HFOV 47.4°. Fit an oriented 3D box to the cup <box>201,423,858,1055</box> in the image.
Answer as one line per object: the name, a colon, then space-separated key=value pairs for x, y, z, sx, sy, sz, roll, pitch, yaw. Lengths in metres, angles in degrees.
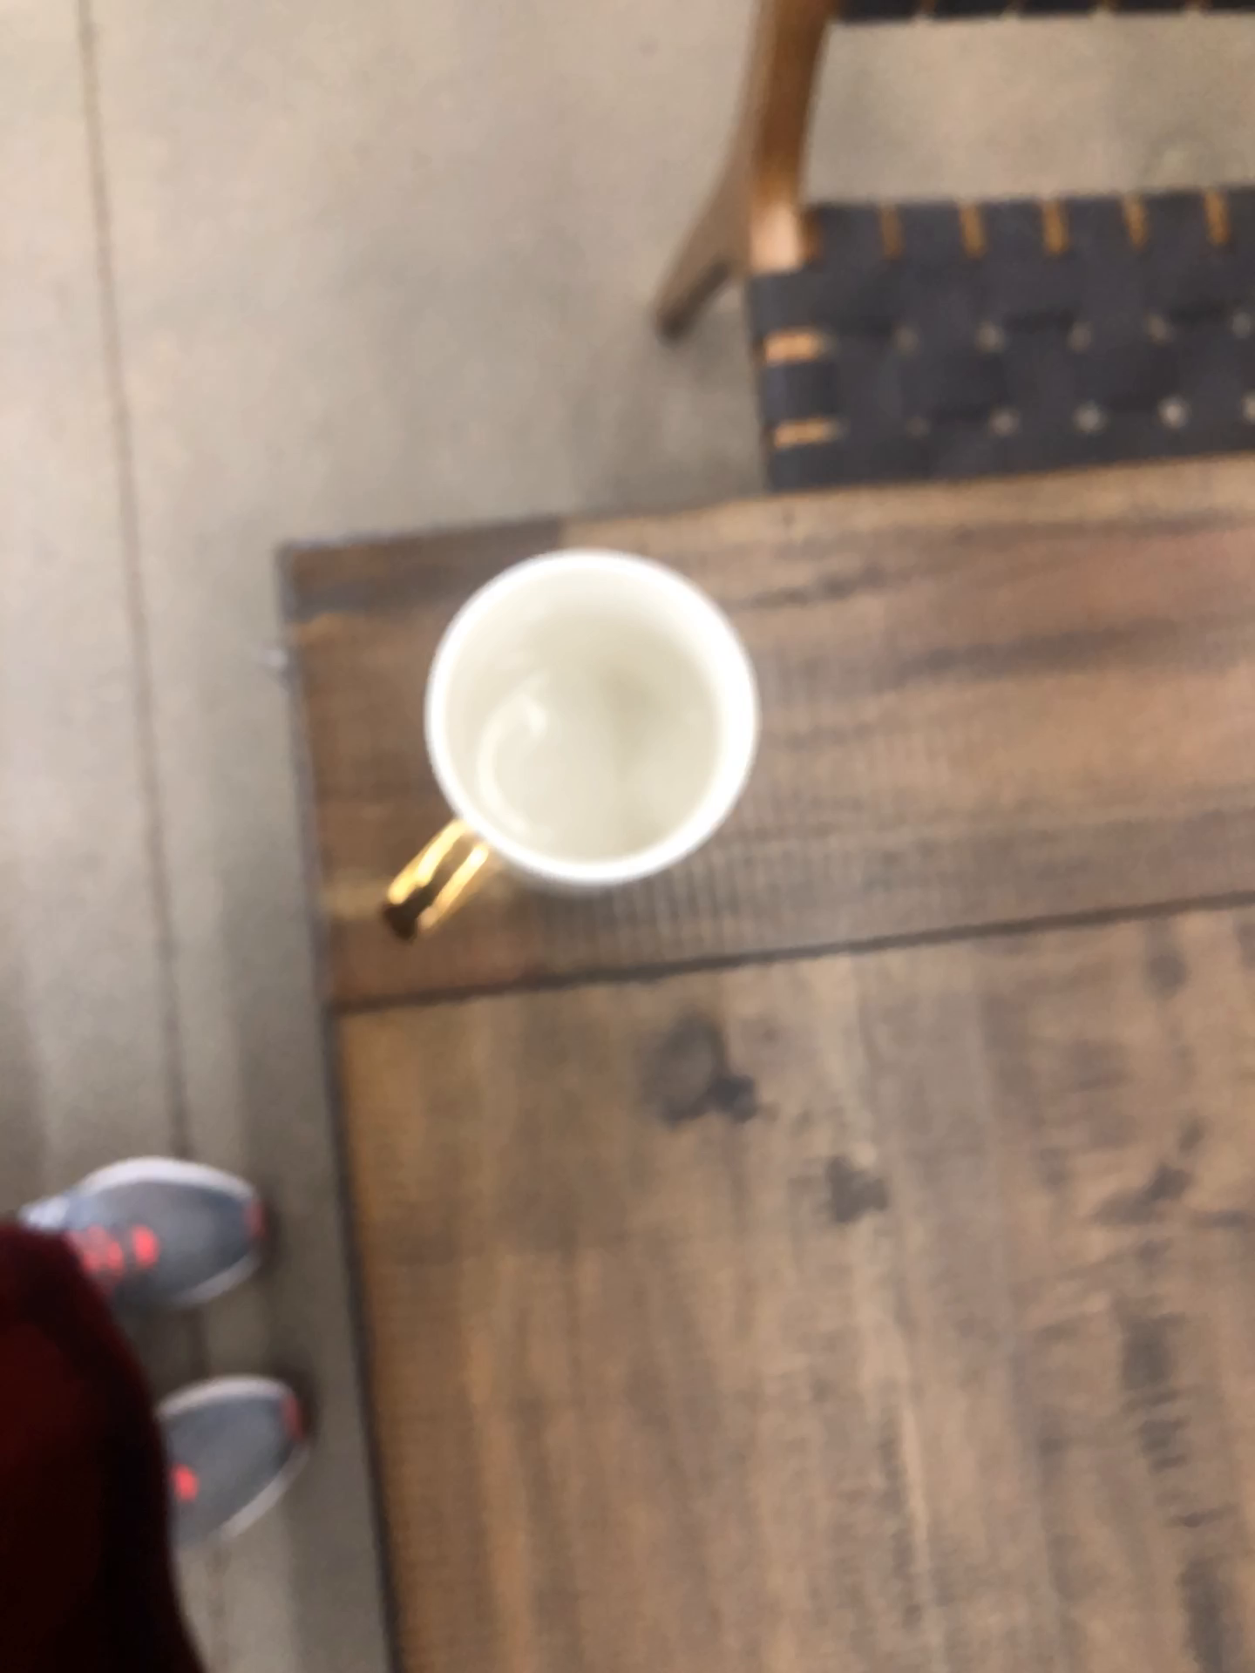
cup: x=-0.026 y=-0.020 z=0.393 sx=0.119 sy=0.116 sz=0.097 roll=-38 pitch=89 yaw=-6
